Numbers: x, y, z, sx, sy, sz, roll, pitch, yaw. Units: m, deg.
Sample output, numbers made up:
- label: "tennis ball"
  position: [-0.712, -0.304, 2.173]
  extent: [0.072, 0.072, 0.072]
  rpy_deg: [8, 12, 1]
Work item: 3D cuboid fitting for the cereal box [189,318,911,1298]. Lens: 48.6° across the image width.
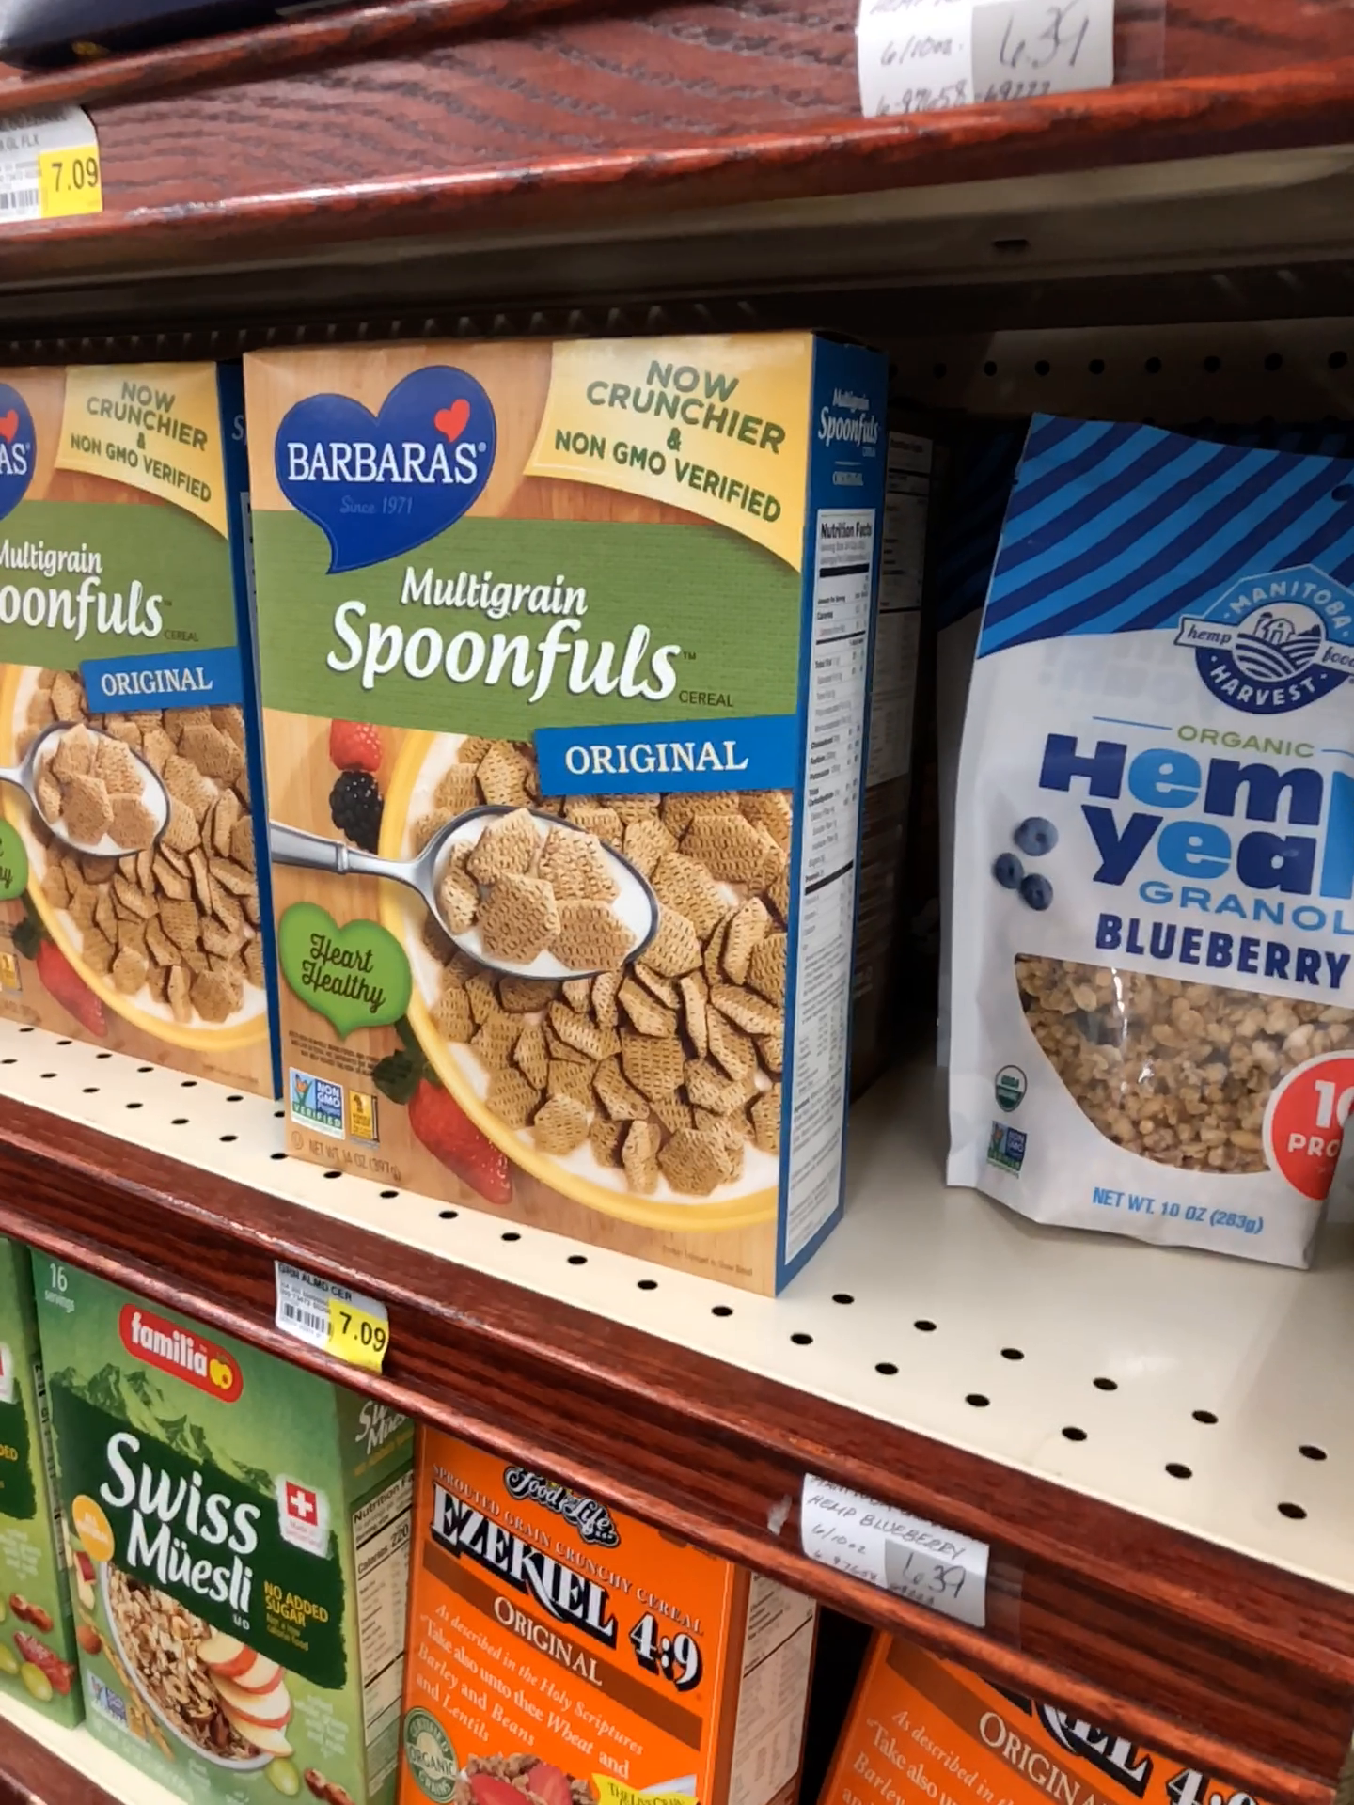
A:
- label: "cereal box"
  position: [-0.042, -0.034, 0.447]
  extent: [0.200, 0.249, 0.060]
  rpy_deg: [9, 16, 28]
